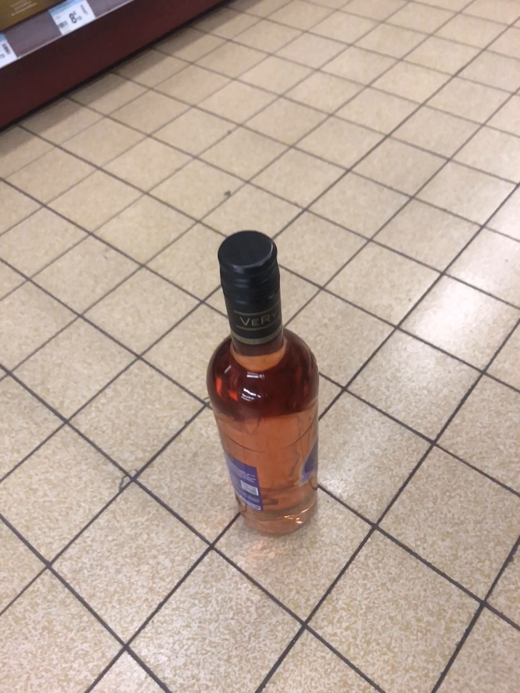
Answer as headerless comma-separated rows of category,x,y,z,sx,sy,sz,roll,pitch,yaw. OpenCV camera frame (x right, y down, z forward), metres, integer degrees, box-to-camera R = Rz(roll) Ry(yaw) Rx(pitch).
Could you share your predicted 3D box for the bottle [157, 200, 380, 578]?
bottle,0.011,0.057,0.388,0.080,0.298,0.080,-2,52,3
